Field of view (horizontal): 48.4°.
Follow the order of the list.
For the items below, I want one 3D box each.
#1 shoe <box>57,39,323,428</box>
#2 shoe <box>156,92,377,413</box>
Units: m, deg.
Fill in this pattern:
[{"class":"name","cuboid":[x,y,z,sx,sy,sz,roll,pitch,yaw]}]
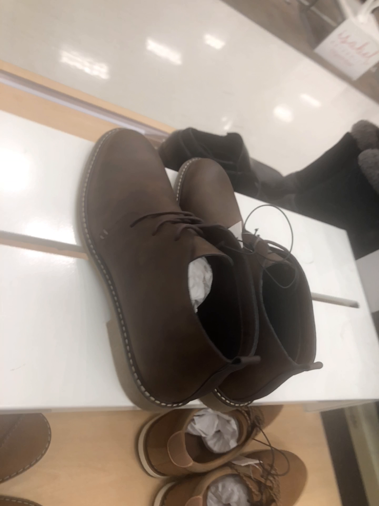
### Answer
[{"class":"shoe","cuboid":[-0.021,-0.012,0.430,0.128,0.172,0.314,5,62,-41]},{"class":"shoe","cuboid":[0.067,0.007,0.499,0.133,0.172,0.314,18,55,-35]}]
